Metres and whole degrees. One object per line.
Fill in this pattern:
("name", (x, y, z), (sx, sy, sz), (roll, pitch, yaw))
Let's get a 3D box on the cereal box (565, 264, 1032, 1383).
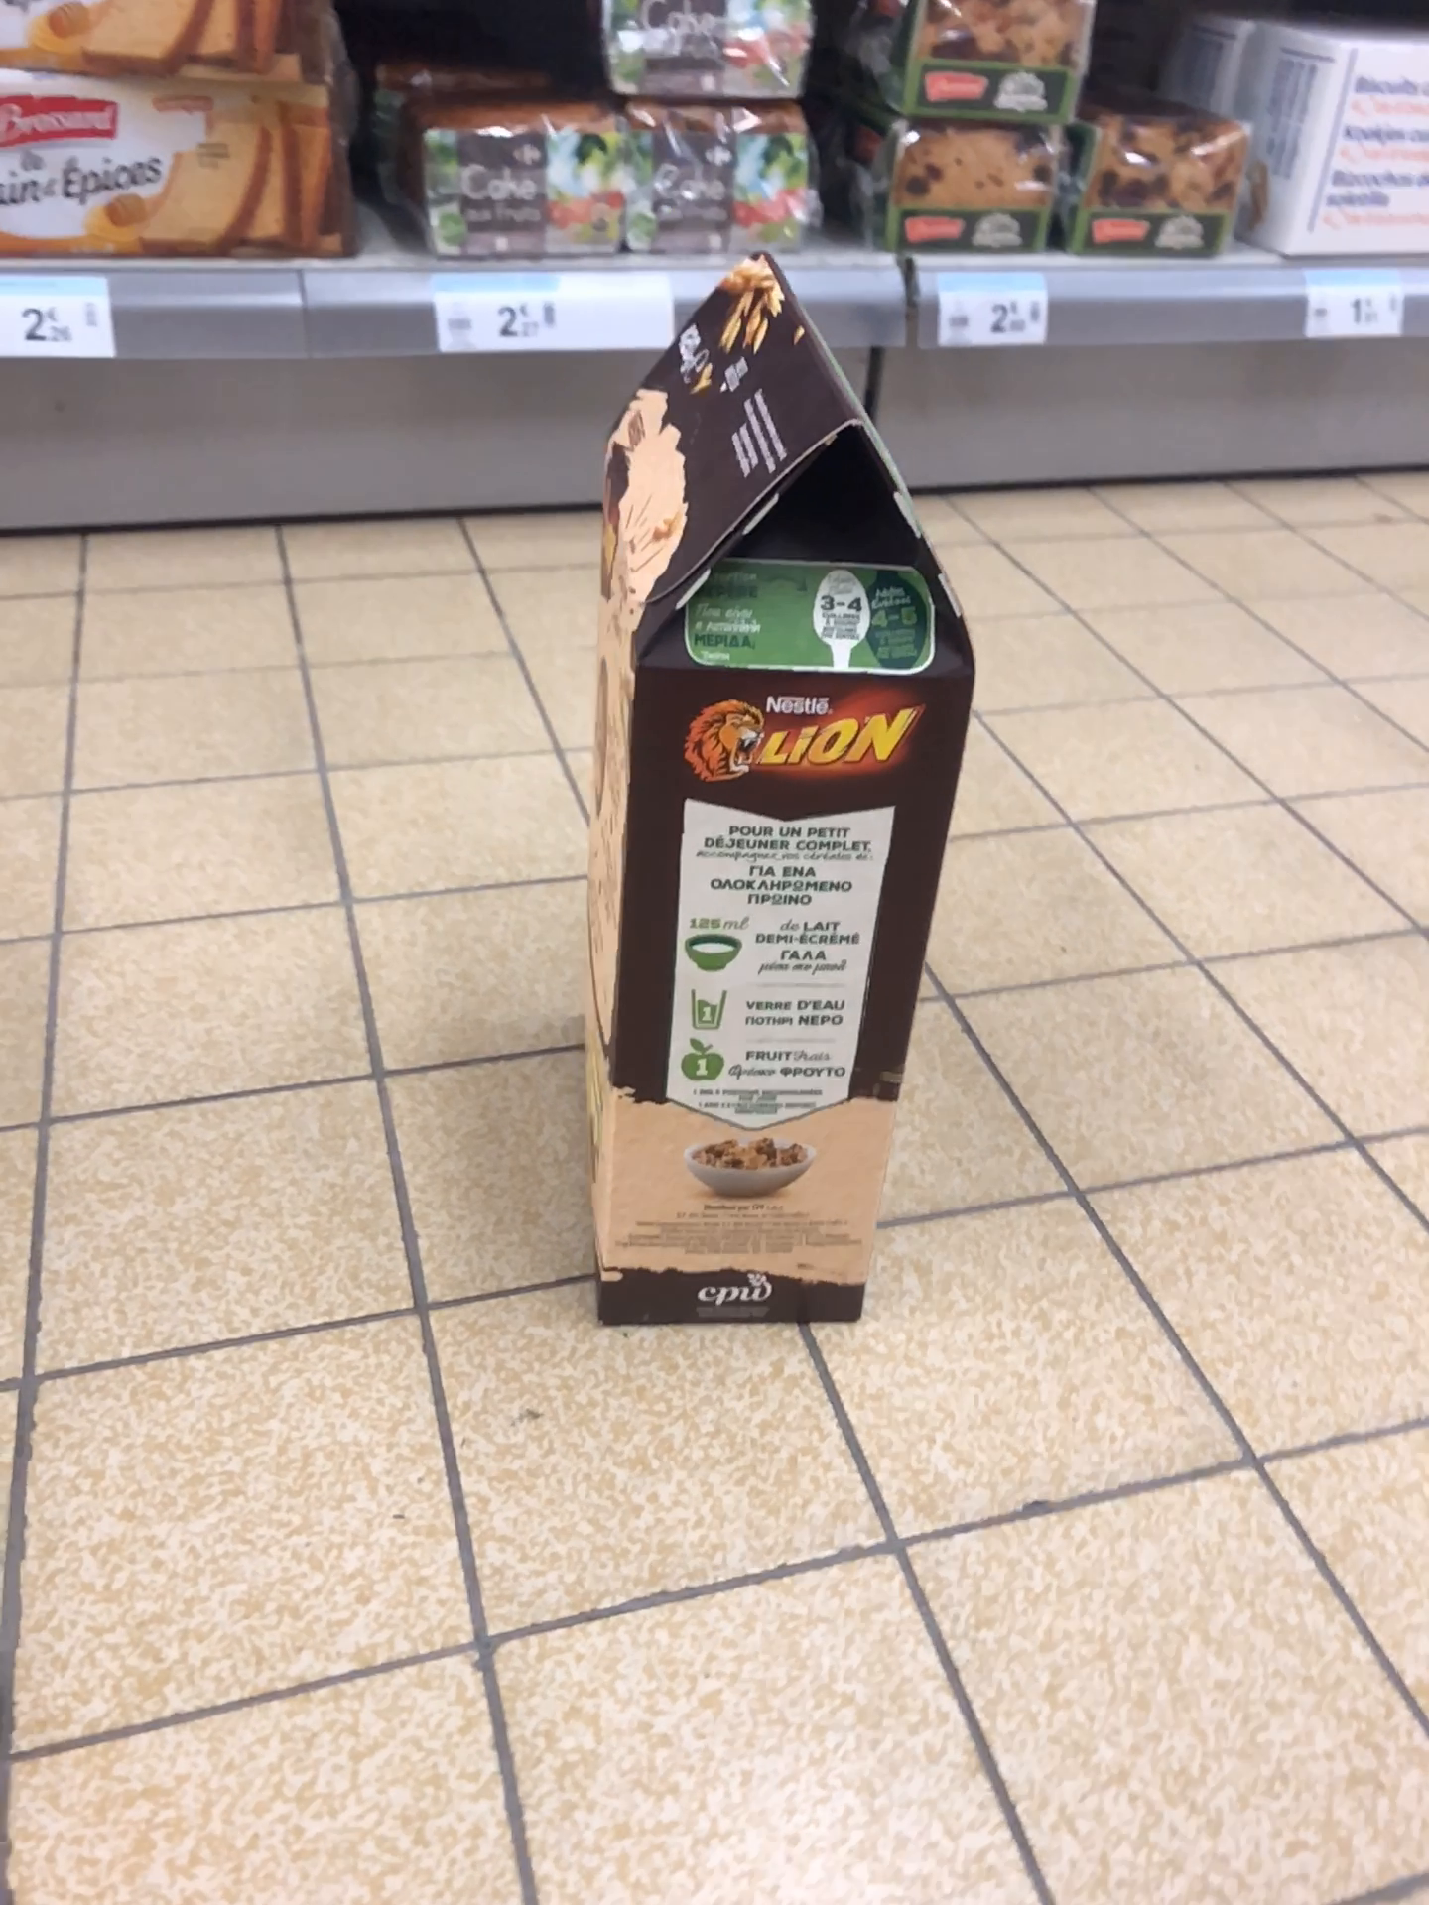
("cereal box", (0.003, -0.030, 0.416), (0.080, 0.248, 0.151), (0, 35, -7))
